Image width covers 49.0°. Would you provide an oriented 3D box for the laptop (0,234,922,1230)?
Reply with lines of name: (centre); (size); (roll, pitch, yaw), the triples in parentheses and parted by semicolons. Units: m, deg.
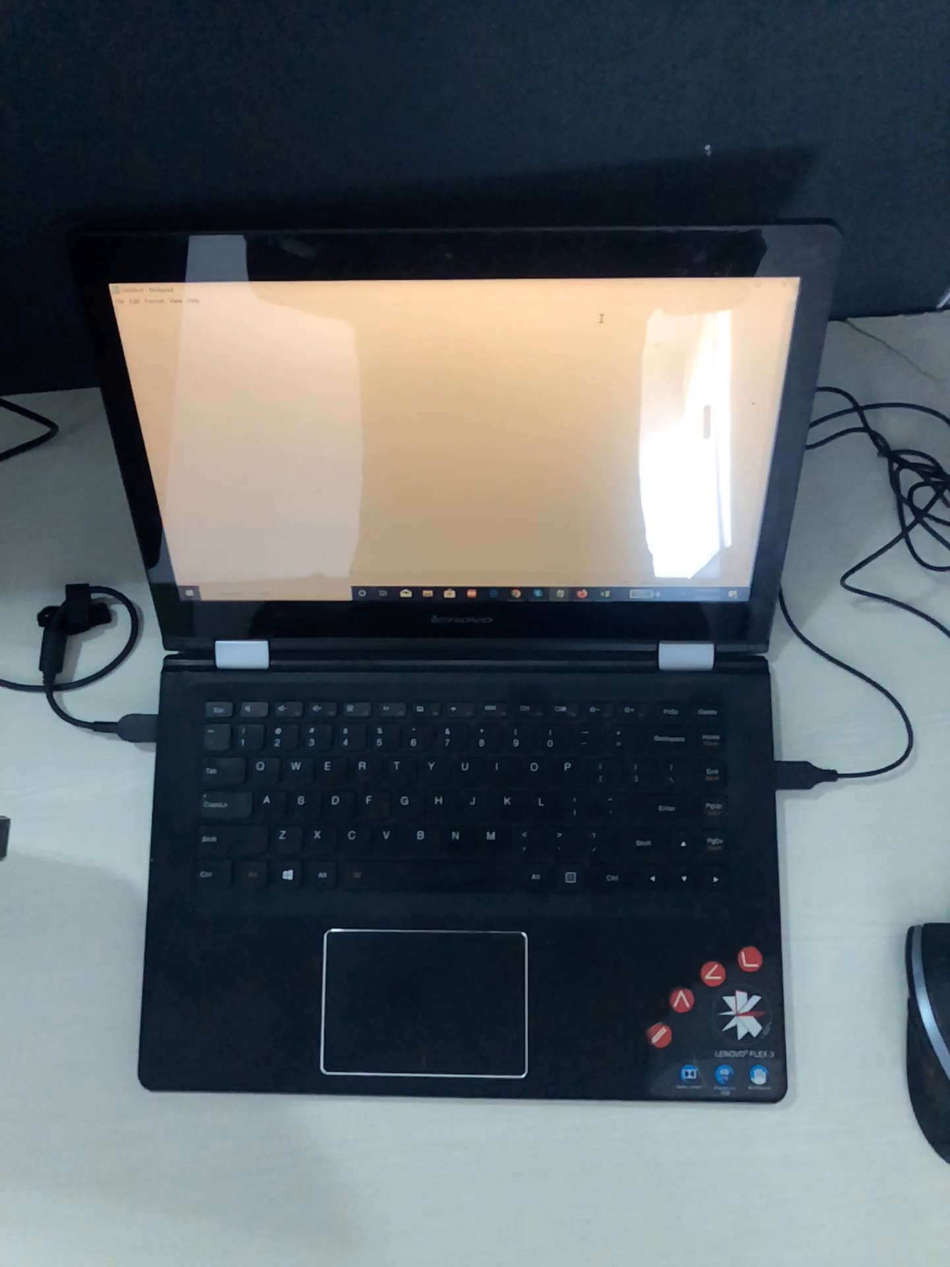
laptop: (-0.009, 0.034, 0.494); (0.334, 0.171, 0.386); (0, 78, 2)
